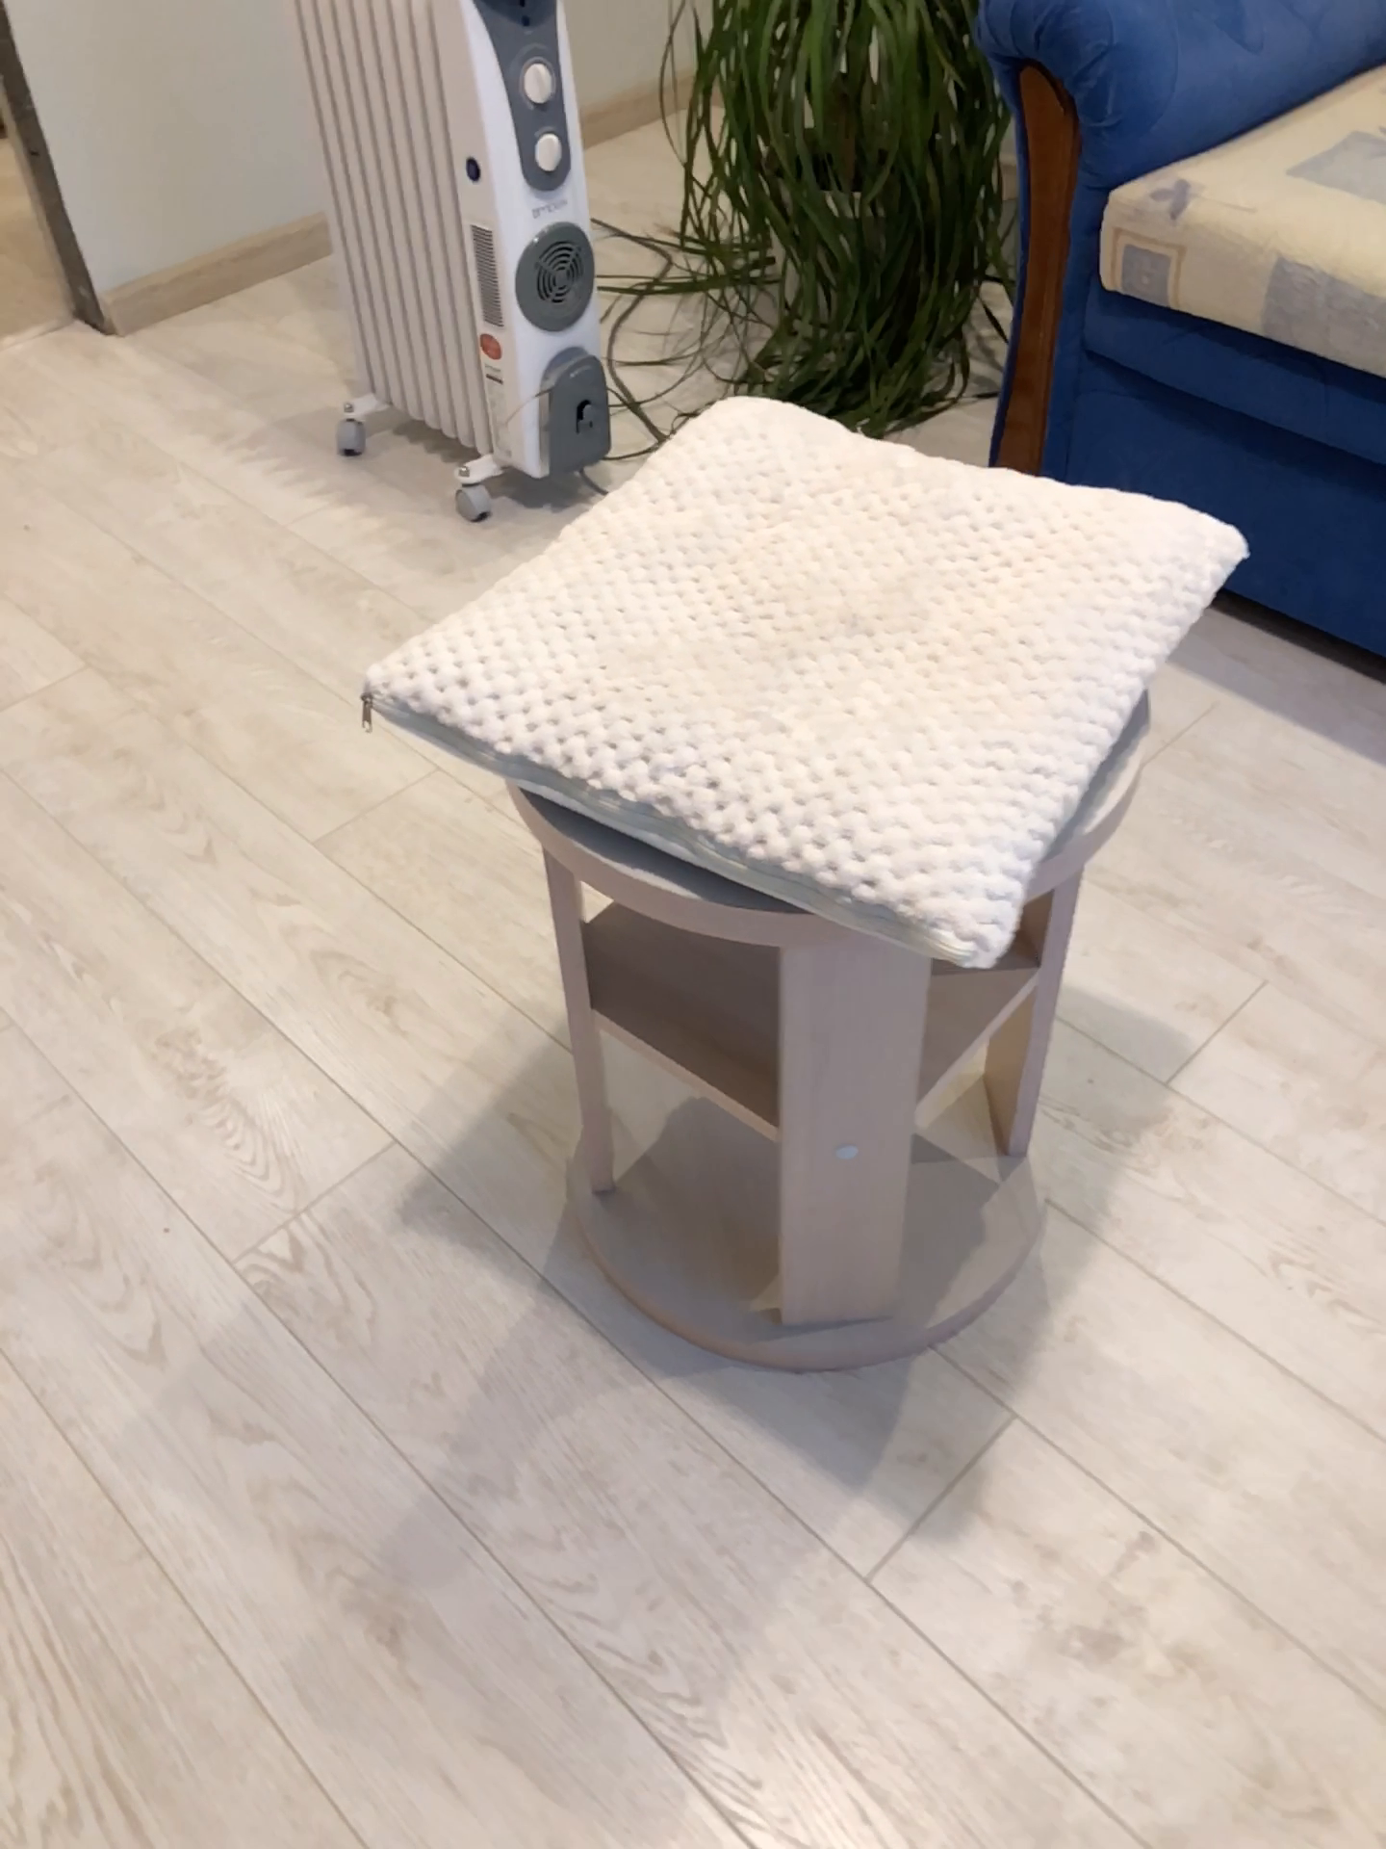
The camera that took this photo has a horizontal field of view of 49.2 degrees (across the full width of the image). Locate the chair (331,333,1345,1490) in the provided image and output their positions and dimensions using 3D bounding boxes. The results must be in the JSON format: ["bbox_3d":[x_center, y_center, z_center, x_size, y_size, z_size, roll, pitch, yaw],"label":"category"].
[{"bbox_3d":[0.086,-0.009,1.020,0.401,0.546,0.381,-34,53,-27],"label":"chair"}]
